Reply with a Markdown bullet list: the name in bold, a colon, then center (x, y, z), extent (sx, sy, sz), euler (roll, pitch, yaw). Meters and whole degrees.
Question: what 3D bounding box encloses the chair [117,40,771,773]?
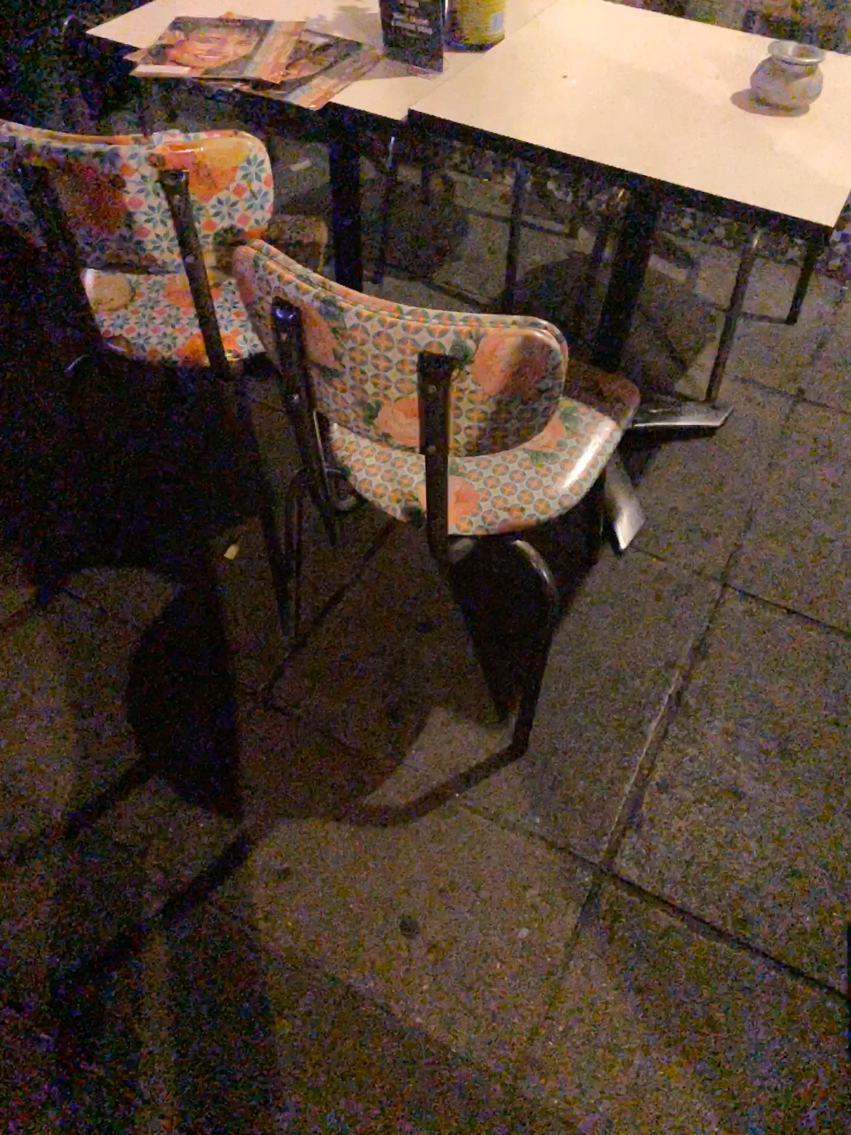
- **chair**: center (0.050, -0.212, 1.218), extent (0.521, 0.694, 0.574), euler (22, 54, 16)
